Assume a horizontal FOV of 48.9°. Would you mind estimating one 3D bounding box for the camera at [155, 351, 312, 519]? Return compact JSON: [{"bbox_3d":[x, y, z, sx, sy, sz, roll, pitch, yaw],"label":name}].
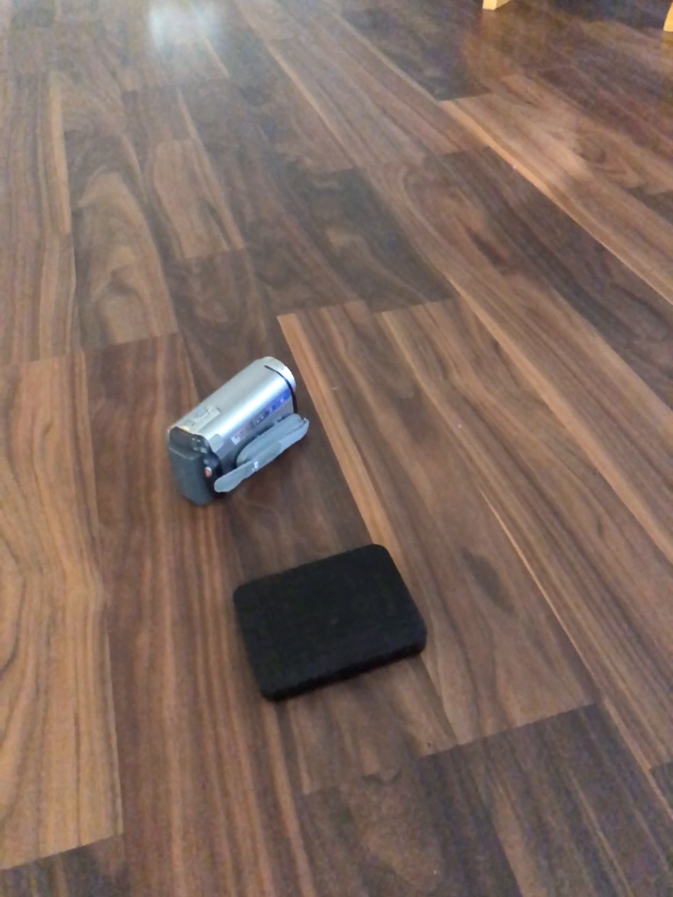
[{"bbox_3d":[-0.075,-0.013,0.574,0.048,0.065,0.115,25,50,27],"label":"camera"}]
